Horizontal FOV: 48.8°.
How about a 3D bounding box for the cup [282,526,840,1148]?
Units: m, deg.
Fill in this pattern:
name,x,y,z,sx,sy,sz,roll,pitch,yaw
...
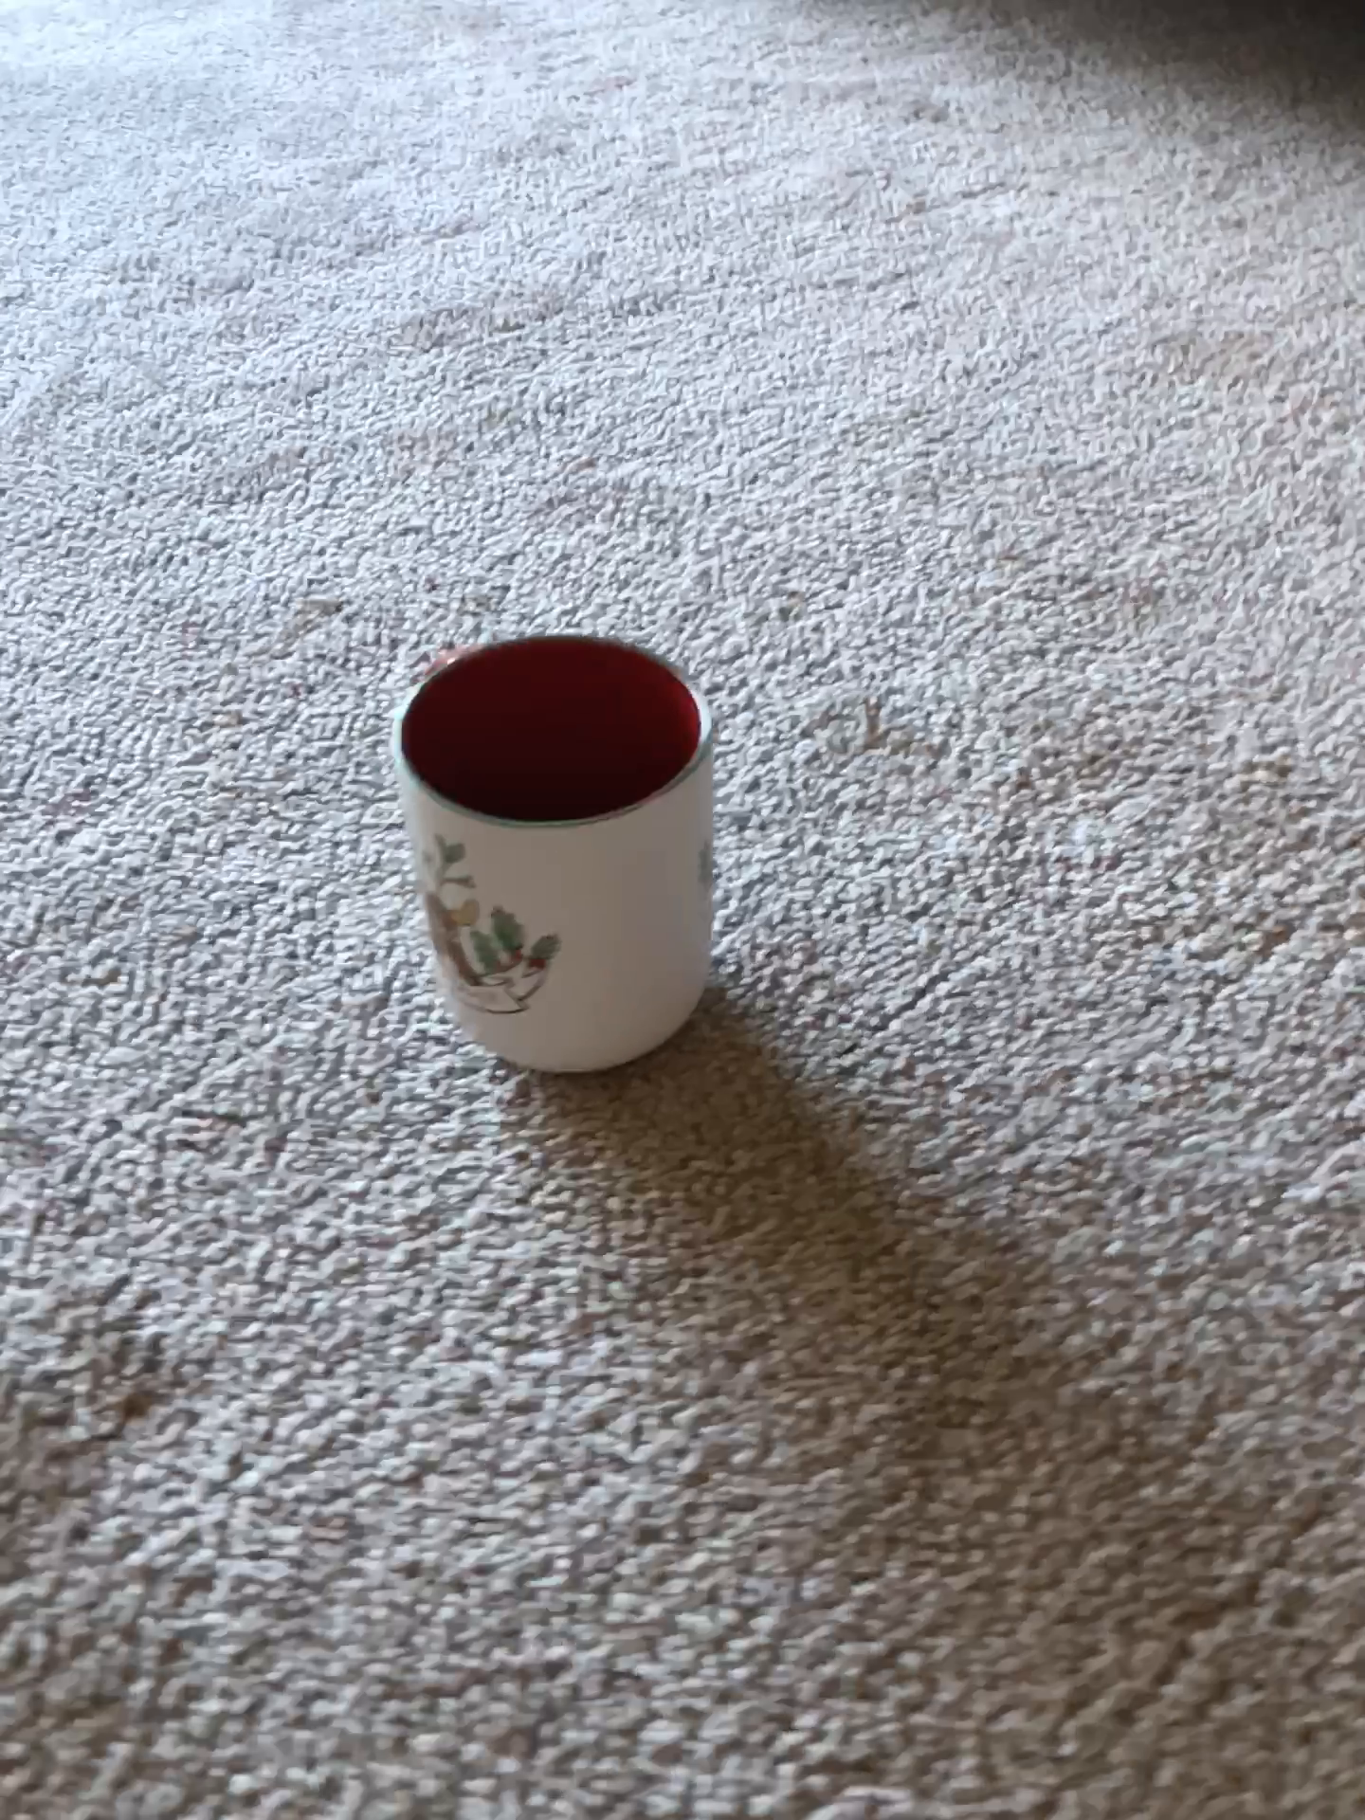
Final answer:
name,x,y,z,sx,sy,sz,roll,pitch,yaw
cup,-0.037,-0.027,0.442,0.100,0.090,0.140,-22,49,-20
